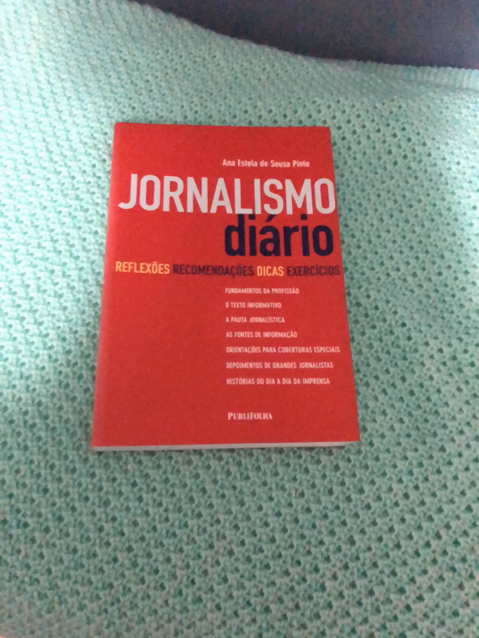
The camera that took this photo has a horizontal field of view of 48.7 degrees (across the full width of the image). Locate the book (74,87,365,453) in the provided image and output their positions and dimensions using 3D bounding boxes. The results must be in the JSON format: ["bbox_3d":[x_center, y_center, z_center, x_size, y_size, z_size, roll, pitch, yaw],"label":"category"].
[{"bbox_3d":[-0.013,-0.043,0.349,0.160,0.030,0.251,-1,70,-2],"label":"book"}]
